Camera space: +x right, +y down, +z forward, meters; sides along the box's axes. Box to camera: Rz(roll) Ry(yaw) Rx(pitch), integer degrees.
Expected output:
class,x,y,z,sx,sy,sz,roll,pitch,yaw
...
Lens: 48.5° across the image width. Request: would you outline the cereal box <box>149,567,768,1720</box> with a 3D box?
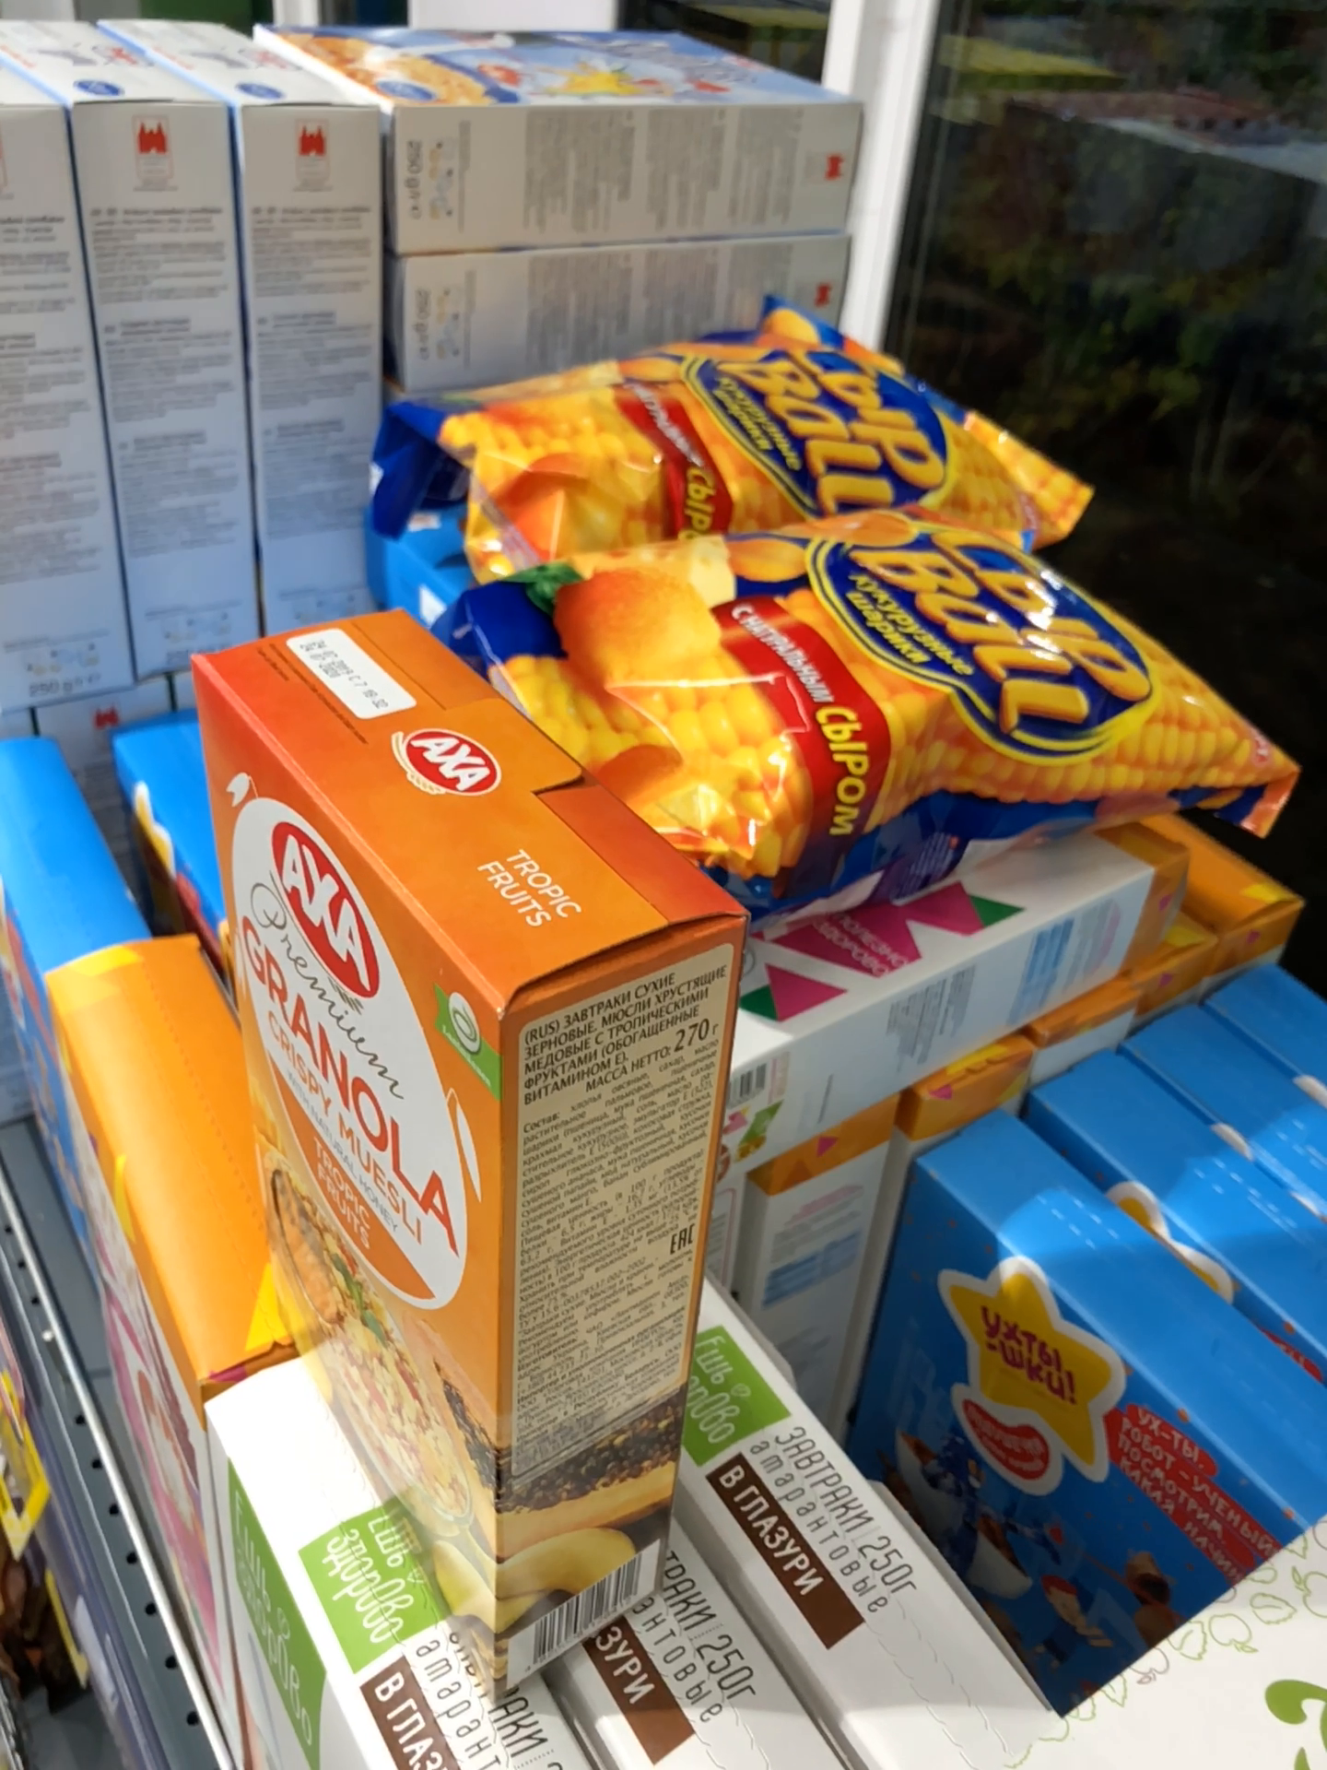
class,x,y,z,sx,sy,sz,roll,pitch,yaw
cereal box,-0.053,0.062,0.334,0.050,0.219,0.141,-20,44,-30
